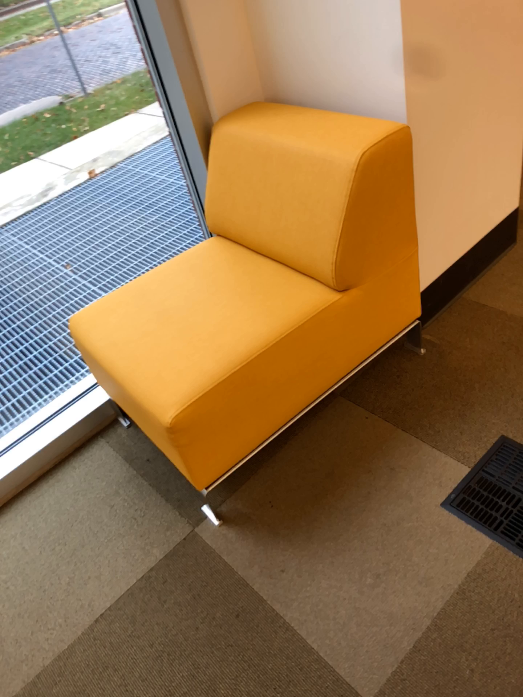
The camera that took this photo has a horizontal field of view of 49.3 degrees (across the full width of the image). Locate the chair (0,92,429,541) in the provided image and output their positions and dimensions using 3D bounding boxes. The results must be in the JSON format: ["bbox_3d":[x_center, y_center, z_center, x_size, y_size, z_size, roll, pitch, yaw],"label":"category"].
[{"bbox_3d":[-0.090,-0.150,1.622,0.872,0.759,0.664,-36,43,-22],"label":"chair"}]
